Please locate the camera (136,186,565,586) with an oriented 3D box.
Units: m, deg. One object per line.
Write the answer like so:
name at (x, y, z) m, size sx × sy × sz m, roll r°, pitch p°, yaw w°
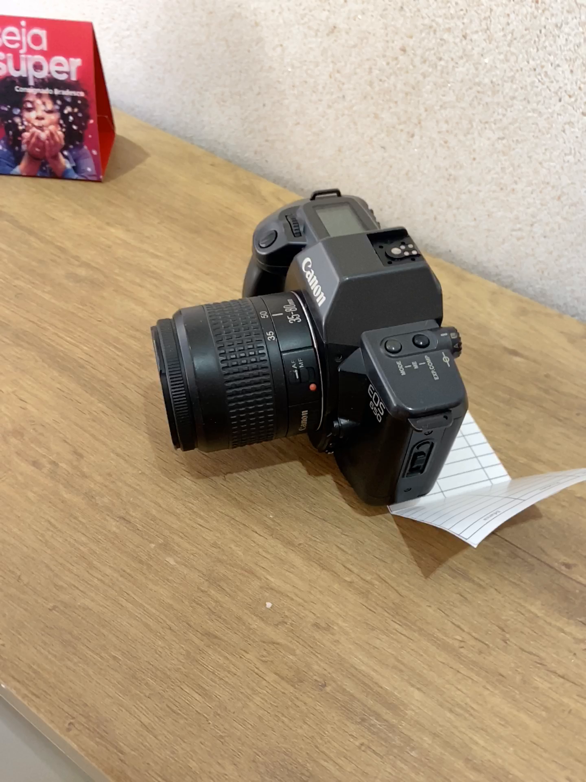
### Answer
camera at (0.011, -0.011, 0.292) m, size 0.140 × 0.099 × 0.141 m, roll -10°, pitch 50°, yaw -16°
